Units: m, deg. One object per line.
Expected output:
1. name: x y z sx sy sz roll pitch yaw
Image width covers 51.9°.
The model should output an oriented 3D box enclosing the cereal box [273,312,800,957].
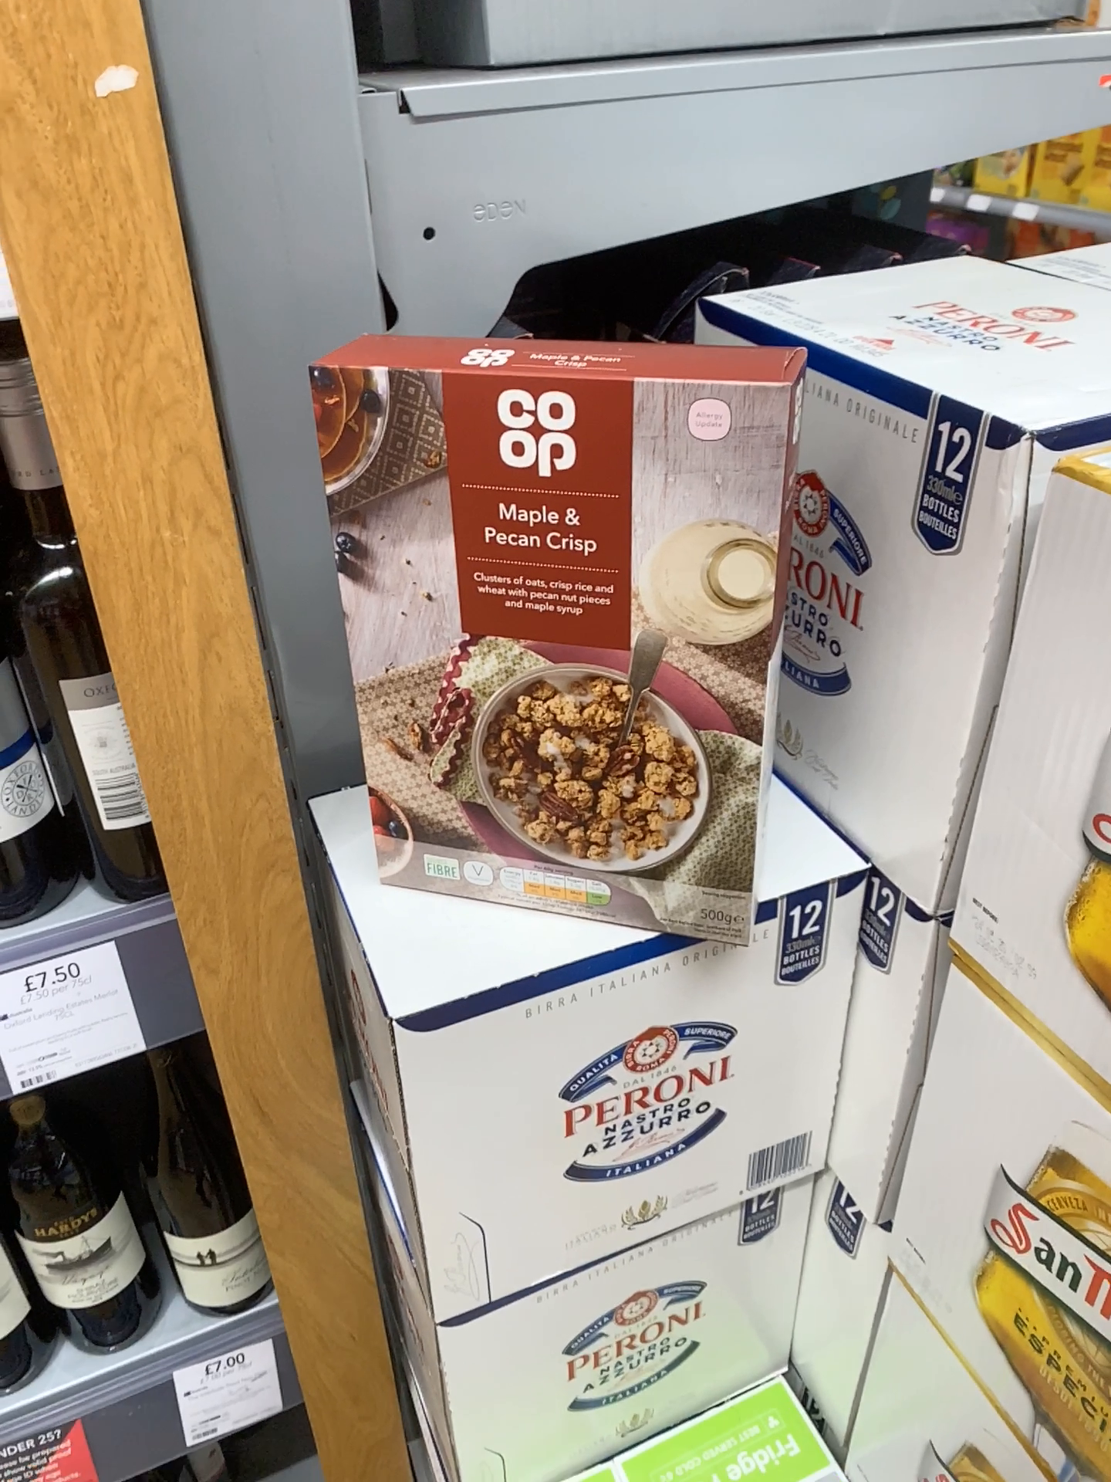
1. cereal box: -0.003 -0.040 0.474 0.180 0.248 0.061 7 32 14
